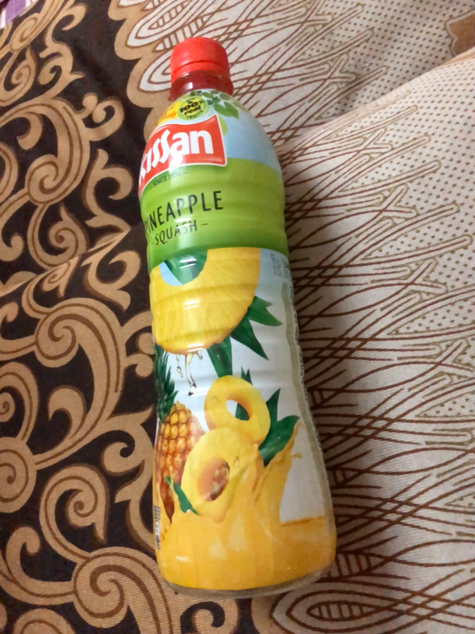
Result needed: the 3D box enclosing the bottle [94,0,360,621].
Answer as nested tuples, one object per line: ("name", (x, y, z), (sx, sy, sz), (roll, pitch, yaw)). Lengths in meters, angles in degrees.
("bottle", (-0.008, -0.017, 0.222), (0.070, 0.060, 0.240), (-11, 77, 26))
